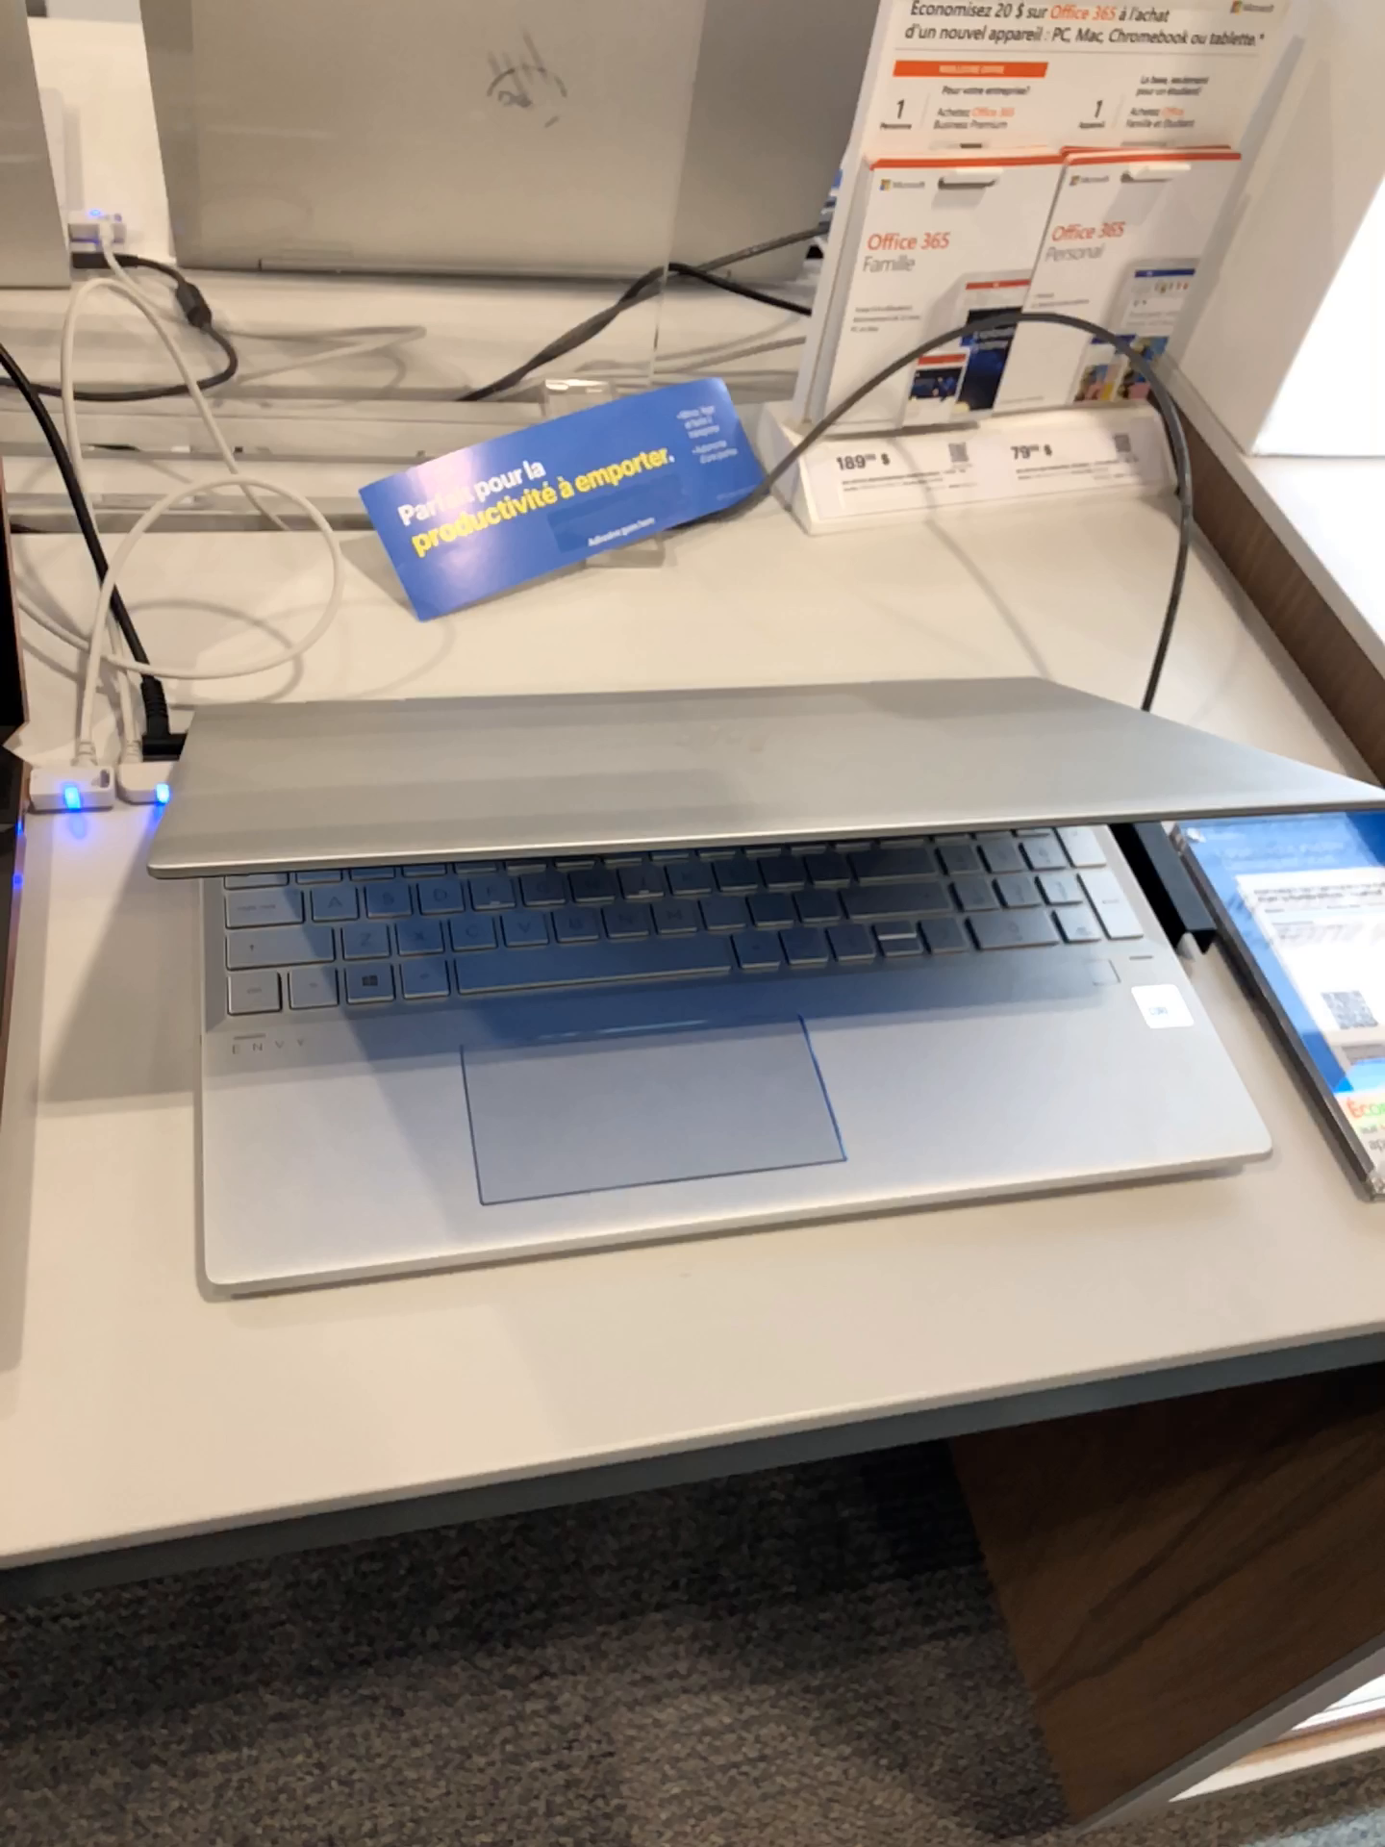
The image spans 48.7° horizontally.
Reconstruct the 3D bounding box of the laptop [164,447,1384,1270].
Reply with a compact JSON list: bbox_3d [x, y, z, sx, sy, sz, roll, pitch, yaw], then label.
[{"bbox_3d":[0.014,-0.037,0.505,0.346,0.116,0.230,-4,52,-13],"label":"laptop"}]
